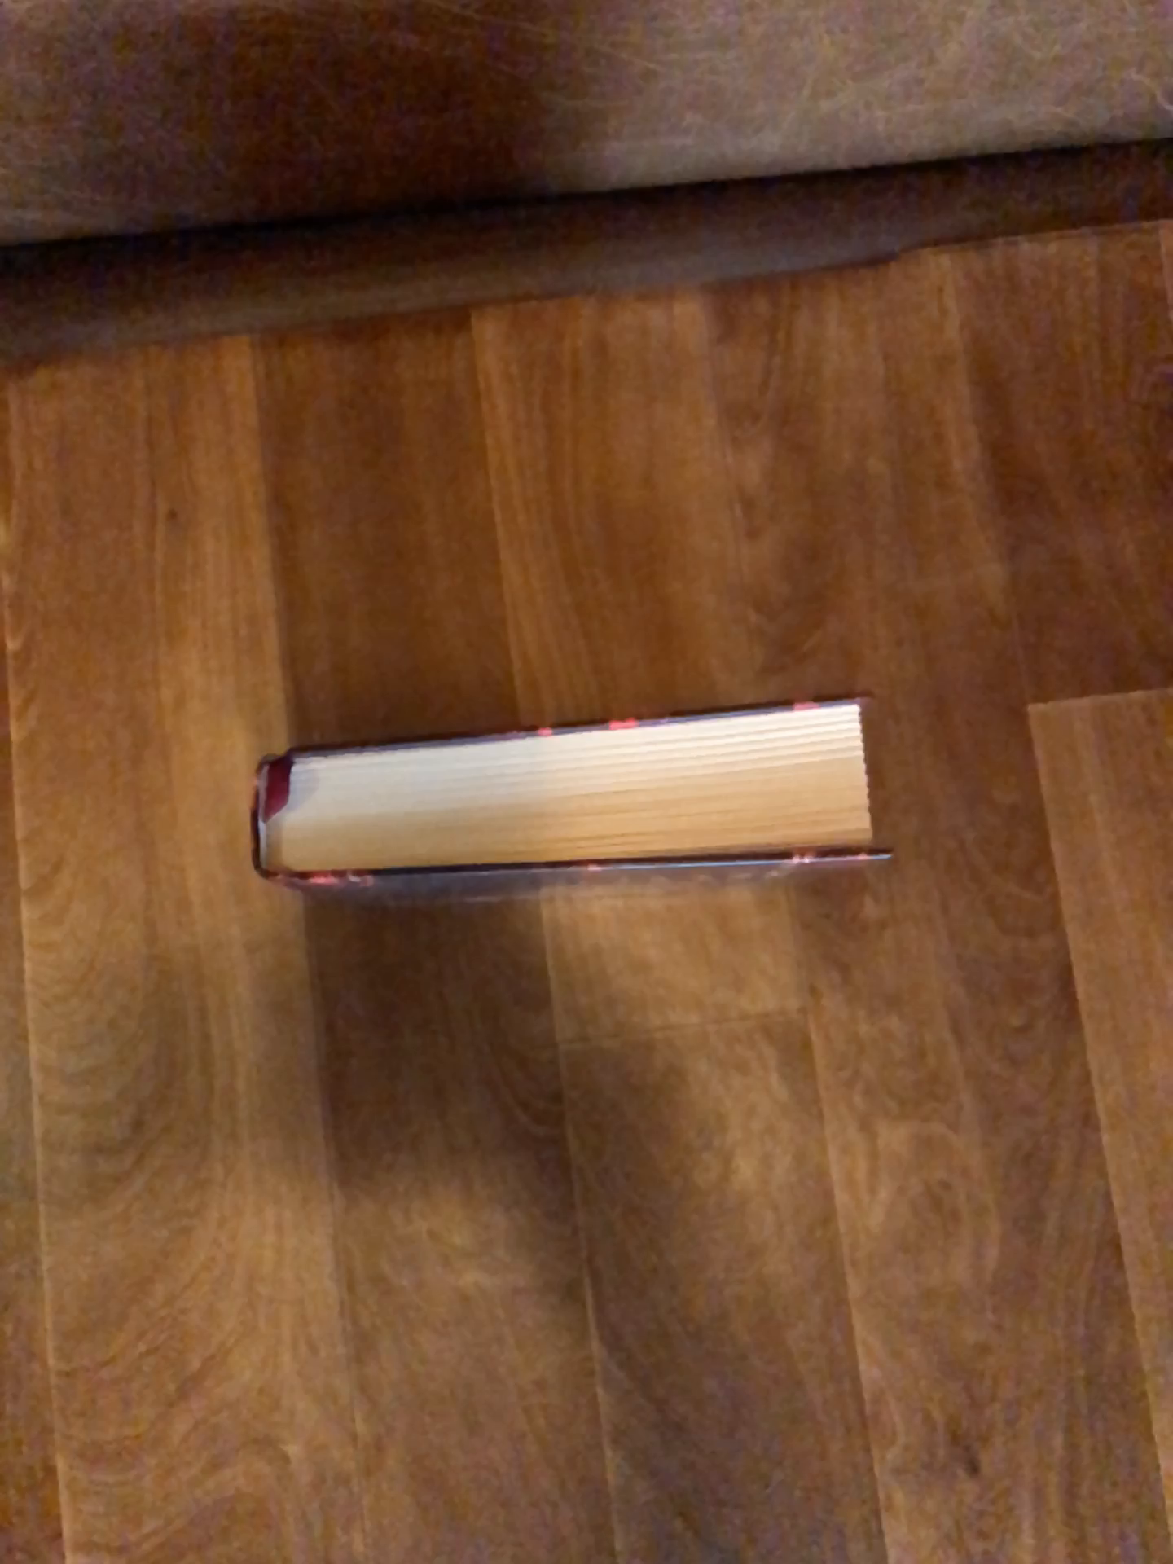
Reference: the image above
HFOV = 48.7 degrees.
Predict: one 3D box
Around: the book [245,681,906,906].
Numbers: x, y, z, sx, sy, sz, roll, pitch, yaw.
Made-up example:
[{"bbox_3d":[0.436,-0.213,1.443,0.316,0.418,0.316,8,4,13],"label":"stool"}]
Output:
[{"bbox_3d":[-0.007,0.013,0.447,0.170,0.221,0.040,-3,82,-3],"label":"book"}]
